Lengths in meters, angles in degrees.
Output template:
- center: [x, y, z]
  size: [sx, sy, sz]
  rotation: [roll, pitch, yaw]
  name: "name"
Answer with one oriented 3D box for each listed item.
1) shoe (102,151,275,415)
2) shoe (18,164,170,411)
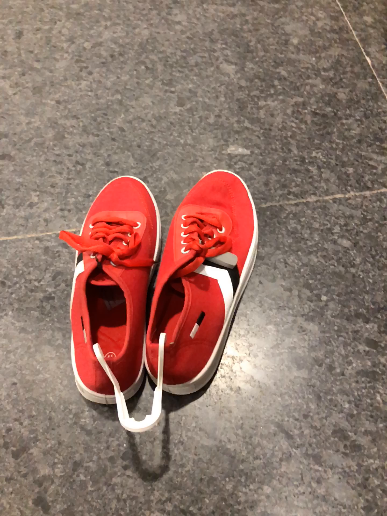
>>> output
- center: [0.008, 0.016, 0.429]
  size: [0.103, 0.090, 0.234]
  rotation: [10, 60, 10]
  name: "shoe"
- center: [-0.084, 0.024, 0.434]
  size: [0.101, 0.090, 0.233]
  rotation: [-1, 59, 3]
  name: "shoe"
